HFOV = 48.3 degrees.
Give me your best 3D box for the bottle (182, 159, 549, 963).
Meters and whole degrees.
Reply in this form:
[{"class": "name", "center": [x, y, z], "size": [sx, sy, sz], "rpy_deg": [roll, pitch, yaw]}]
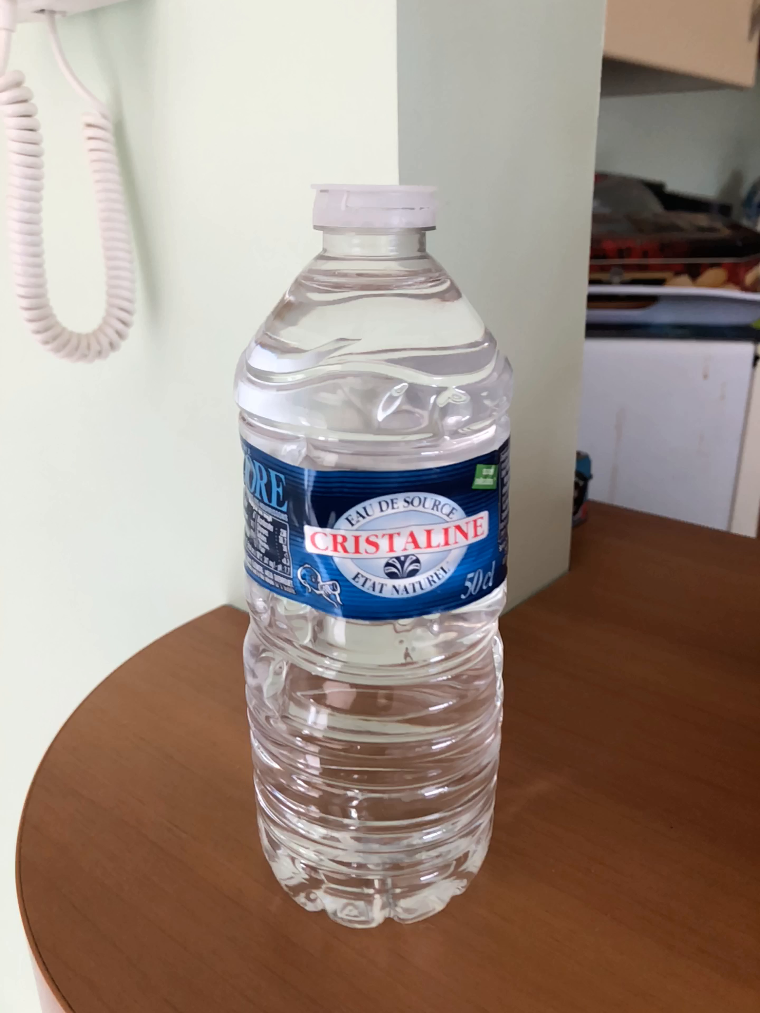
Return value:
[{"class": "bottle", "center": [-0.007, 0.012, 0.223], "size": [0.070, 0.189, 0.070], "rpy_deg": [-1, 20, 0]}]
